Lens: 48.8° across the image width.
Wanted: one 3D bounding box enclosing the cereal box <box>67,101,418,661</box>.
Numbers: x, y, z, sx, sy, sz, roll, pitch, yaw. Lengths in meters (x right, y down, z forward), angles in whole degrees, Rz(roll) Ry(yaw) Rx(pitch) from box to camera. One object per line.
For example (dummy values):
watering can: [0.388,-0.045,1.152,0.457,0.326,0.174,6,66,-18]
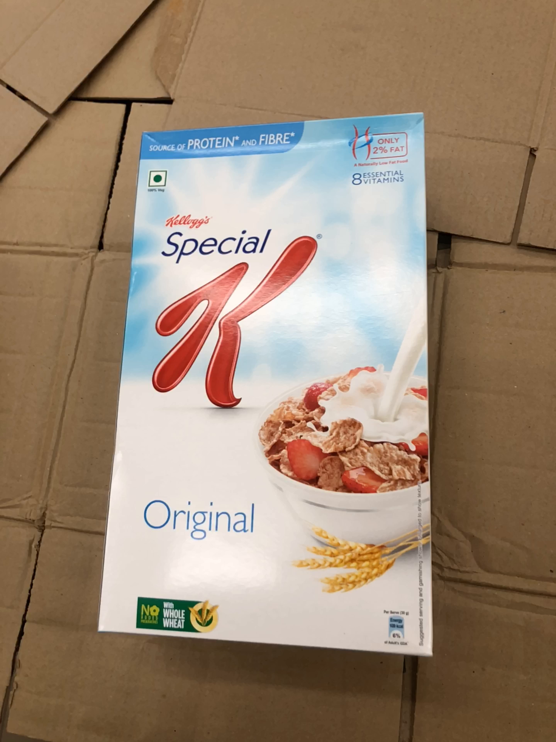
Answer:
cereal box: [-0.007,0.001,0.386,0.180,0.100,0.300,0,77,10]
